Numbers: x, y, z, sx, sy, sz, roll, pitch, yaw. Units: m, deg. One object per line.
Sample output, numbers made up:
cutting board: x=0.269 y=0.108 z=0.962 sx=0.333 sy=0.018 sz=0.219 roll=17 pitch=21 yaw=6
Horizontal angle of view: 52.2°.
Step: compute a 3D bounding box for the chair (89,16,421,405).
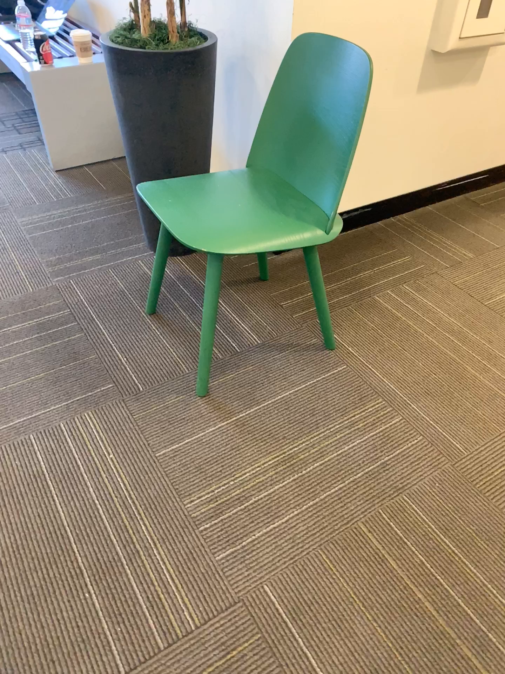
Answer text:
chair: x=-0.025 y=-0.336 z=1.345 sx=0.540 sy=0.765 sz=0.482 roll=-19 pitch=45 yaw=-24
